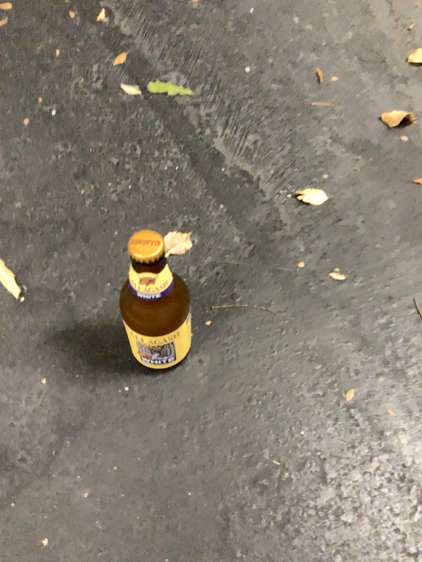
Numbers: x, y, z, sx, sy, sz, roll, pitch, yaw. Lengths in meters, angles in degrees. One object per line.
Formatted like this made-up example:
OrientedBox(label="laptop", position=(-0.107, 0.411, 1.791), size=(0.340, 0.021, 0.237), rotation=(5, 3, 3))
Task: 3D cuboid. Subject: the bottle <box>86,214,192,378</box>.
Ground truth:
OrientedBox(label="bottle", position=(-0.055, 0.026, 0.431), size=(0.070, 0.190, 0.070), rotation=(1, 61, -1))
